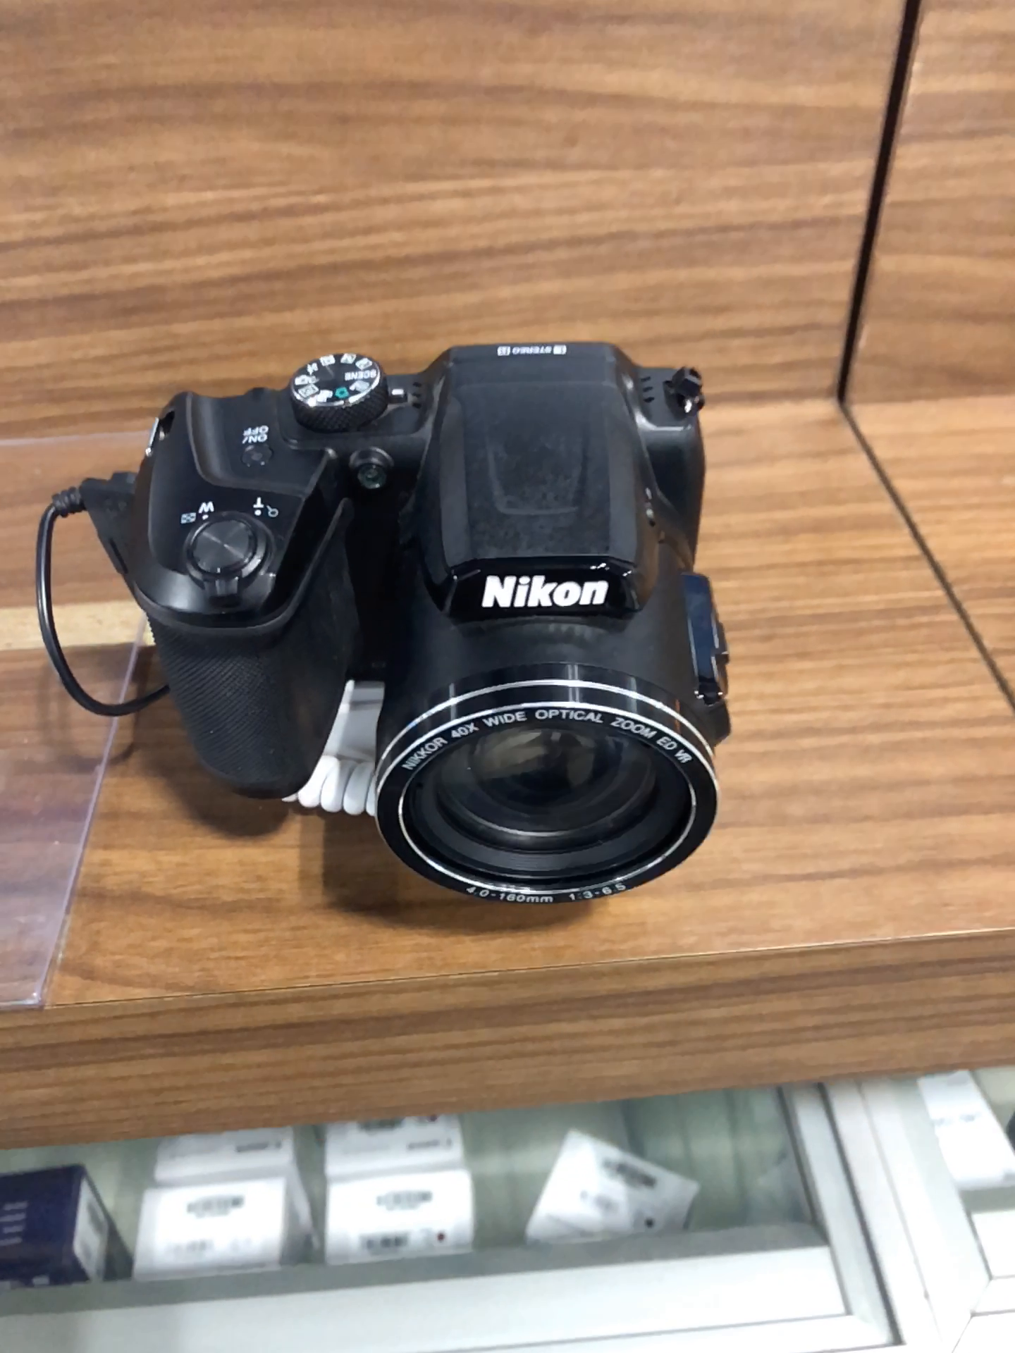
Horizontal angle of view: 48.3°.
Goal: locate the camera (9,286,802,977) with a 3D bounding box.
[{"bbox_3d":[-0.016,-0.014,0.225,0.110,0.080,0.111,-3,41,-1],"label":"camera"}]
